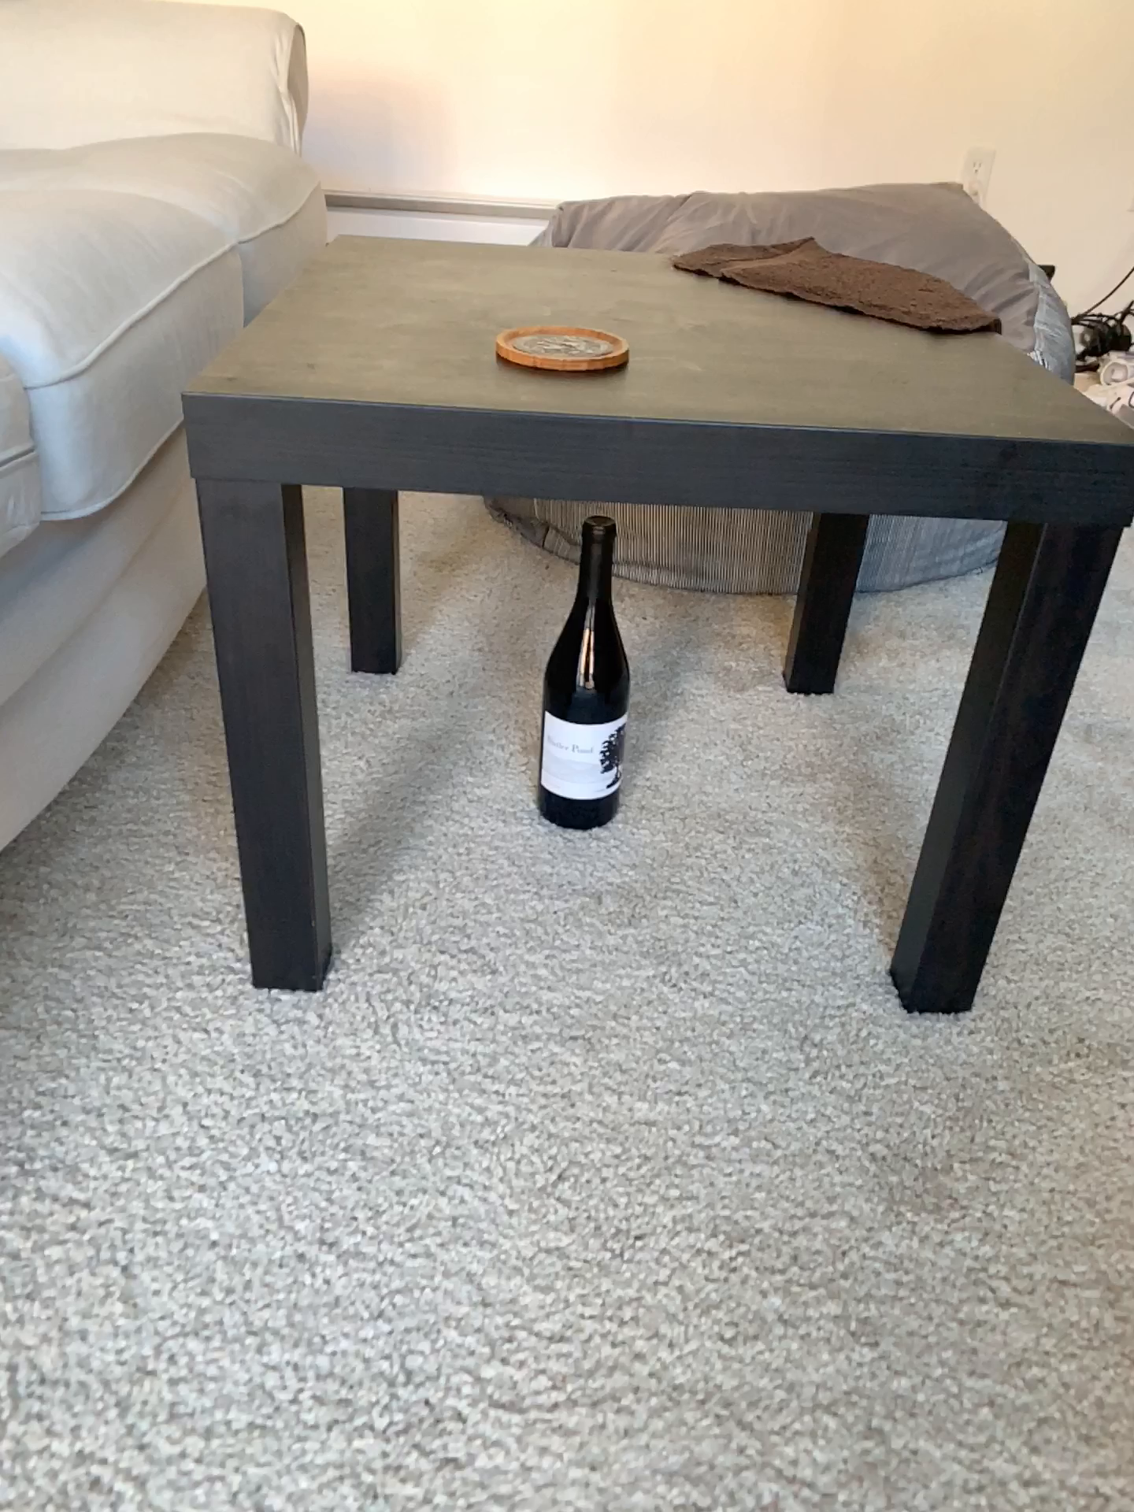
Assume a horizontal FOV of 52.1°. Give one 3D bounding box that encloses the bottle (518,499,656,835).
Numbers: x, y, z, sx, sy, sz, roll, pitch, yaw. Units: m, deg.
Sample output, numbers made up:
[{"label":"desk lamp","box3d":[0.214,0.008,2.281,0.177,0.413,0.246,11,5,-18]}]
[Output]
[{"label":"bottle","box3d":[0.011,-0.073,1.032,0.090,0.288,0.091,3,33,-2]}]
